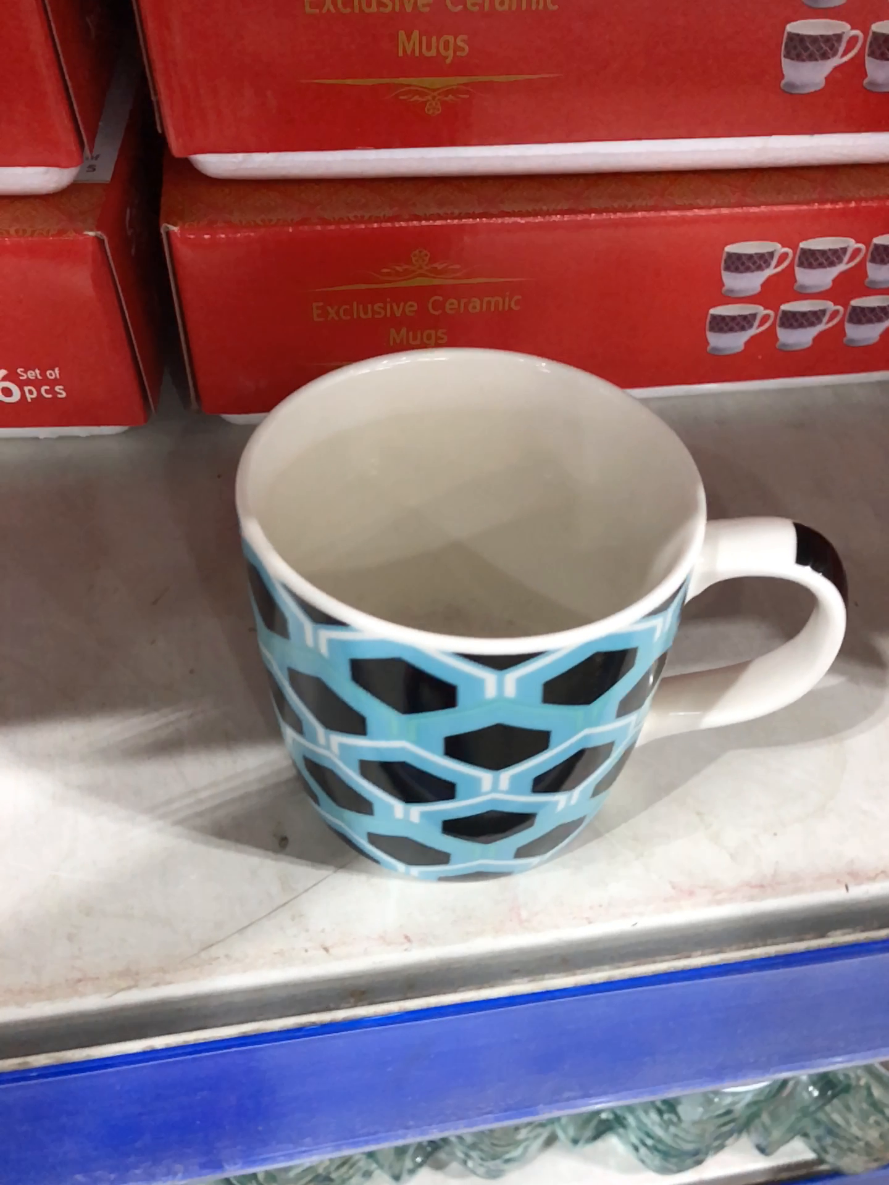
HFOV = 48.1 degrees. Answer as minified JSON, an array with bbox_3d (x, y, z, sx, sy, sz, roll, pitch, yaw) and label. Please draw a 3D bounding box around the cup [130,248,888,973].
[{"bbox_3d":[0.019,0.006,0.232,0.130,0.119,0.110,3,47,2],"label":"cup"}]
